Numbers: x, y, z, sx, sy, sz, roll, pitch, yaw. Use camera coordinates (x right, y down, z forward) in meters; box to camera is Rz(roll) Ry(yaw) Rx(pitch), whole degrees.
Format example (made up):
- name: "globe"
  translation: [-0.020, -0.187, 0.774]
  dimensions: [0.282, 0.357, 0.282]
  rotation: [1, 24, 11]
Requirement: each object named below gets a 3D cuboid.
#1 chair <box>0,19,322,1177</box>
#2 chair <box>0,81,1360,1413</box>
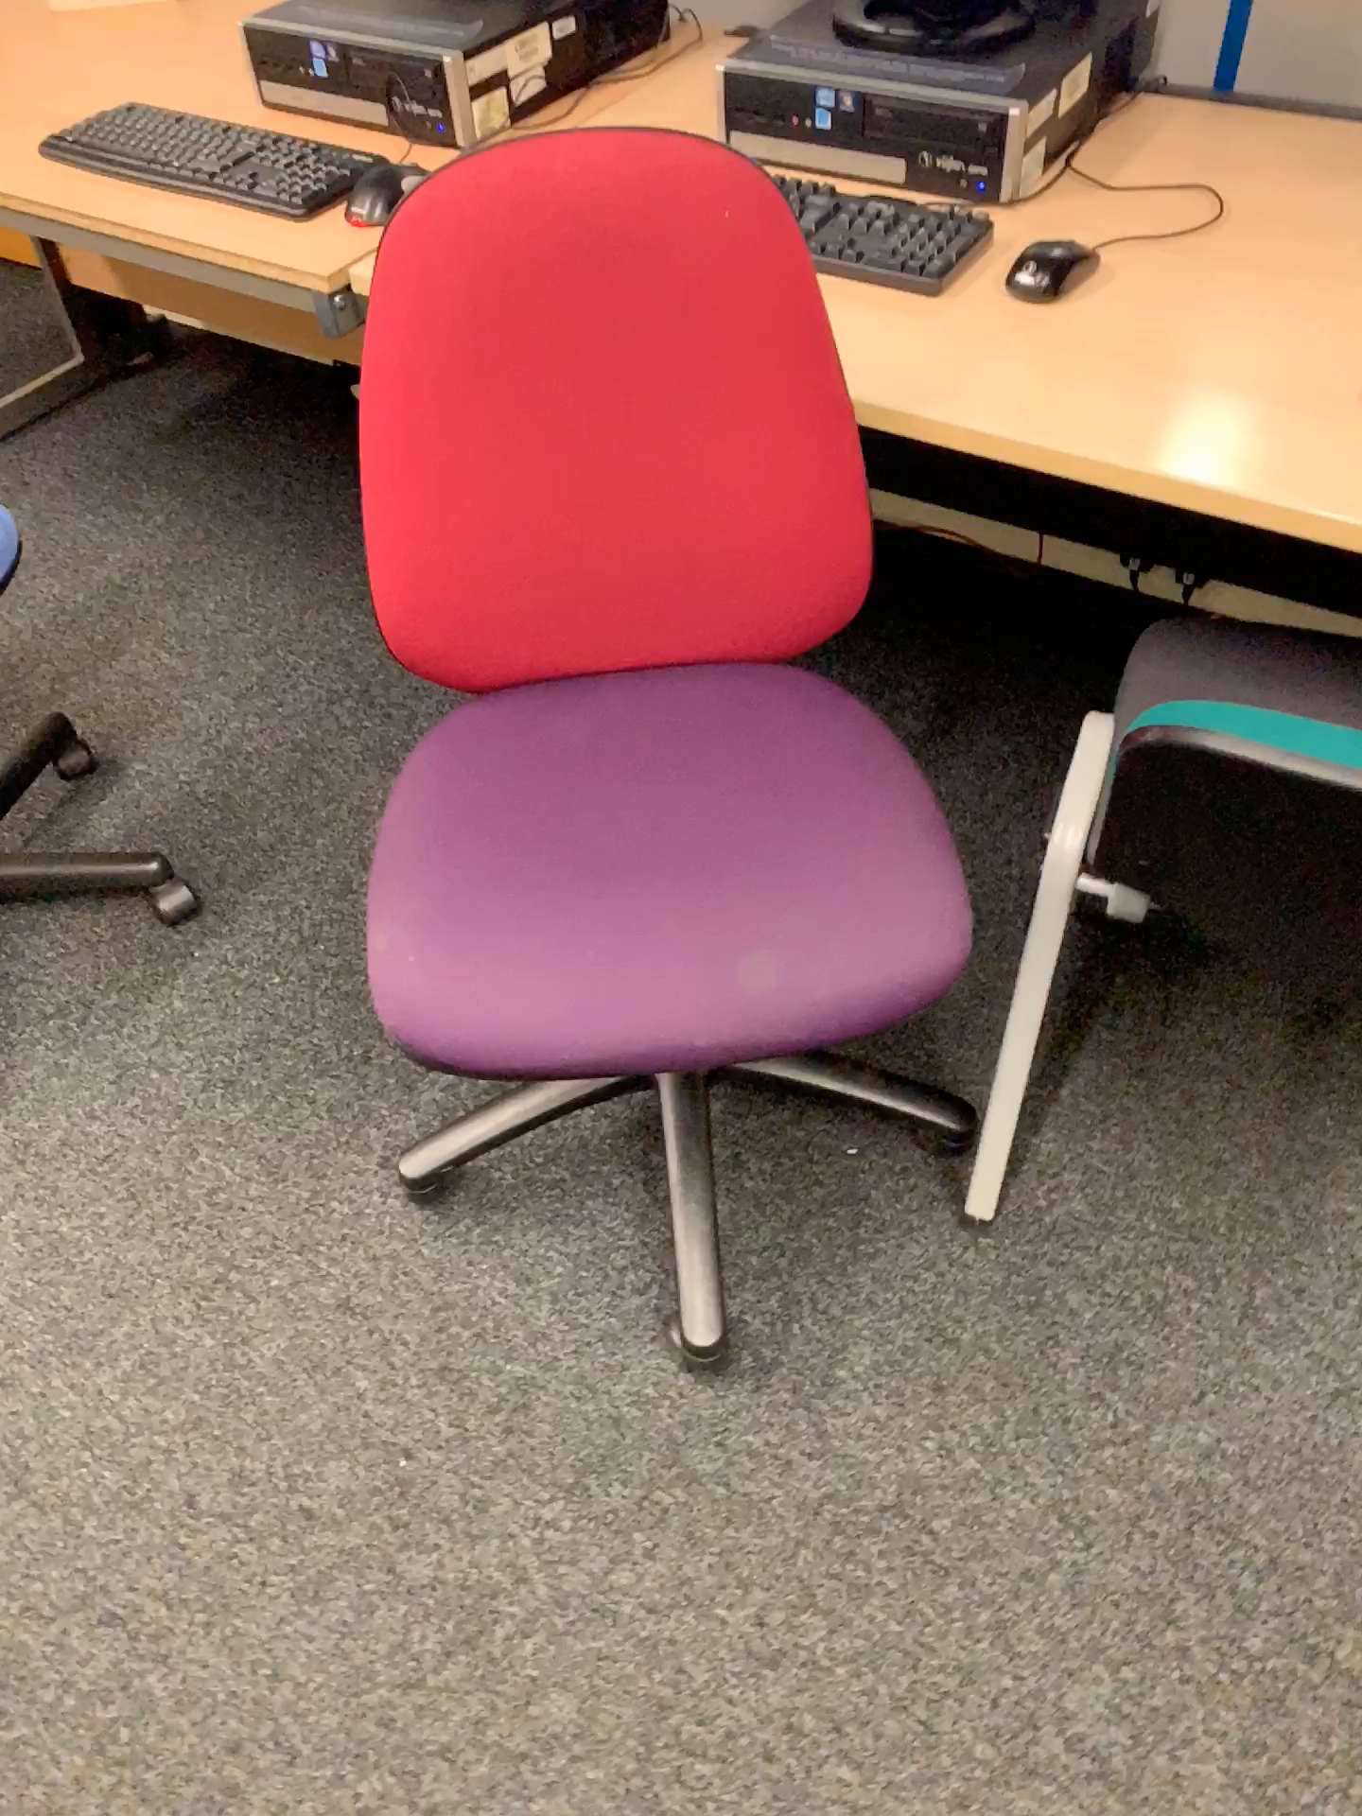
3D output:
- name: "chair"
  translation: [-0.887, -0.303, 1.384]
  dimensions: [0.599, 0.830, 0.607]
  rotation: [19, 52, 21]
- name: "chair"
  translation: [-0.015, -0.077, 1.134]
  dimensions: [0.653, 0.869, 0.603]
  rotation: [-3, 47, 1]
